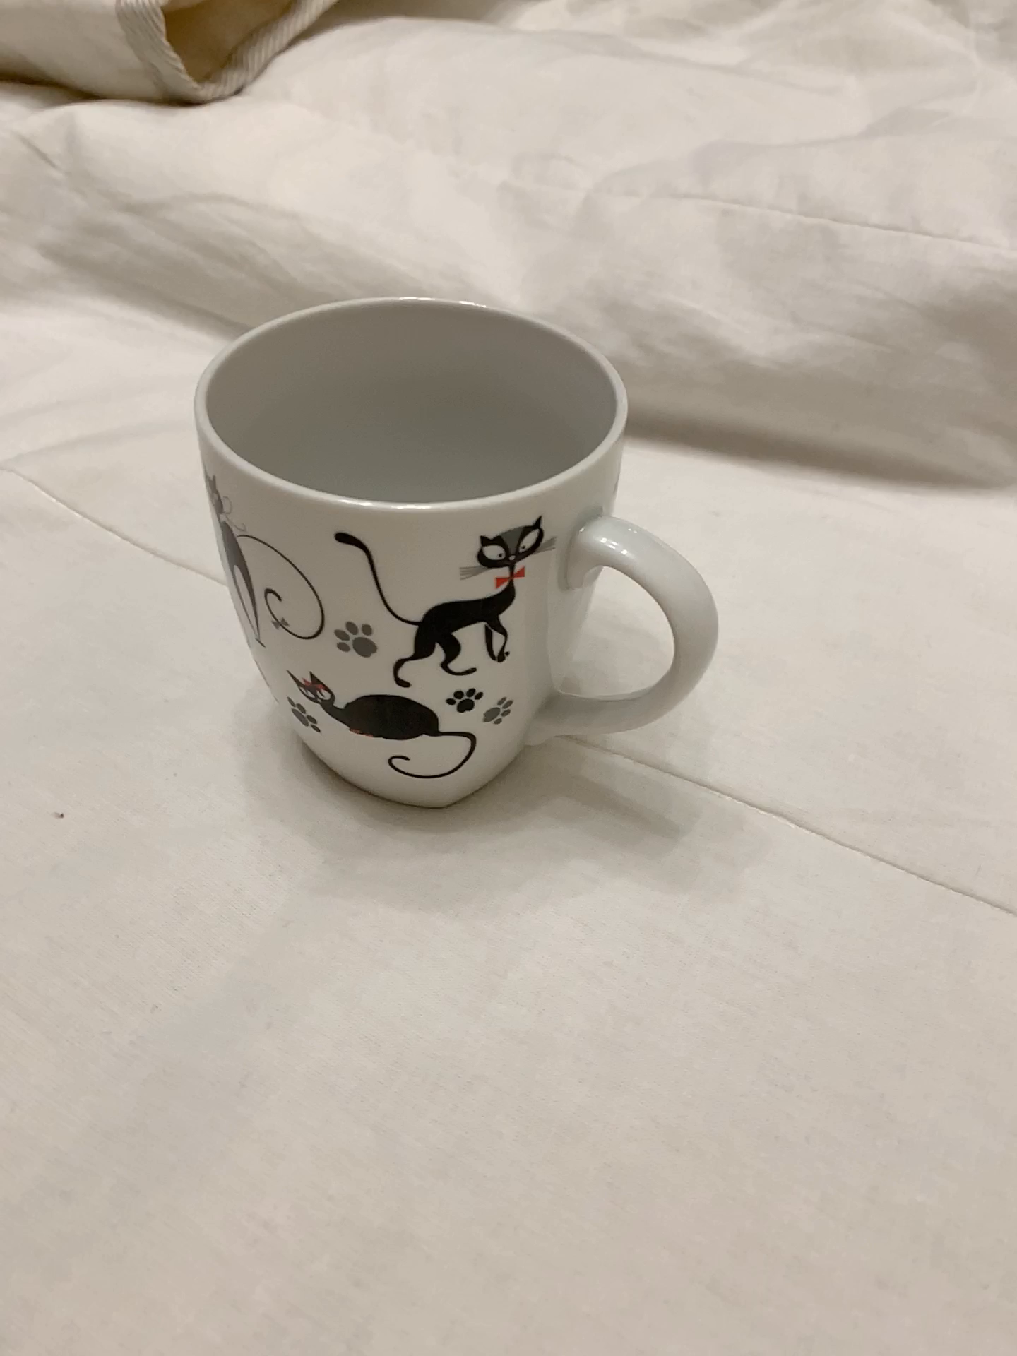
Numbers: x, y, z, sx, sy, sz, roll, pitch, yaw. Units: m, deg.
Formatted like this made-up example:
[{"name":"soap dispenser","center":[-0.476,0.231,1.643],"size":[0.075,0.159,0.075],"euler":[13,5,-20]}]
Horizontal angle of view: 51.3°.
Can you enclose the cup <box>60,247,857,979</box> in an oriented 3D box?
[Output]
[{"name":"cup","center":[-0.011,-0.022,0.214],"size":[0.119,0.077,0.081],"euler":[31,51,29]}]
